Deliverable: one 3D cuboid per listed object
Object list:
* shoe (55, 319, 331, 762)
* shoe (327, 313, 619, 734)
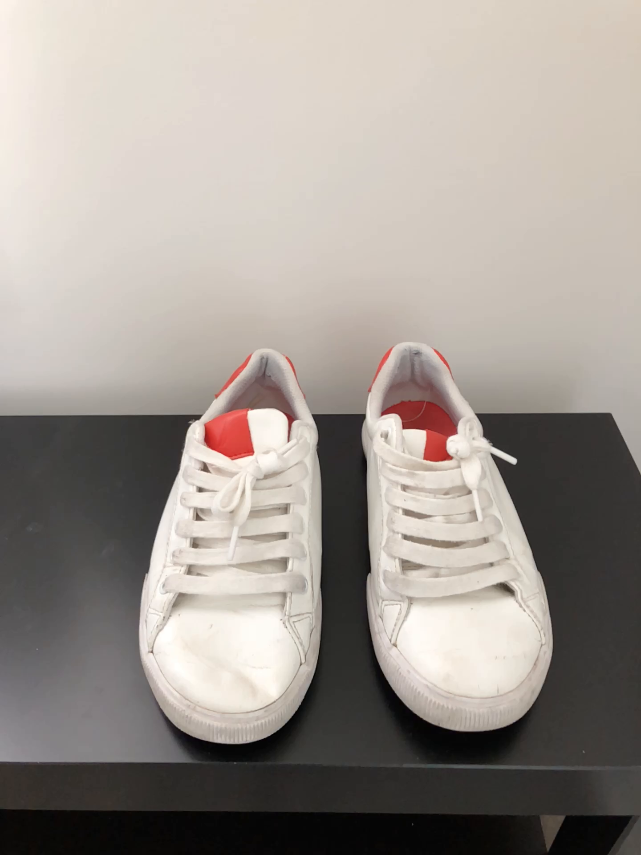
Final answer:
[{"bbox_3d":[-0.053,0.040,0.379,0.102,0.080,0.236,-2,40,-2],"label":"shoe"},{"bbox_3d":[0.060,0.033,0.387,0.100,0.080,0.231,-2,40,-2],"label":"shoe"}]
